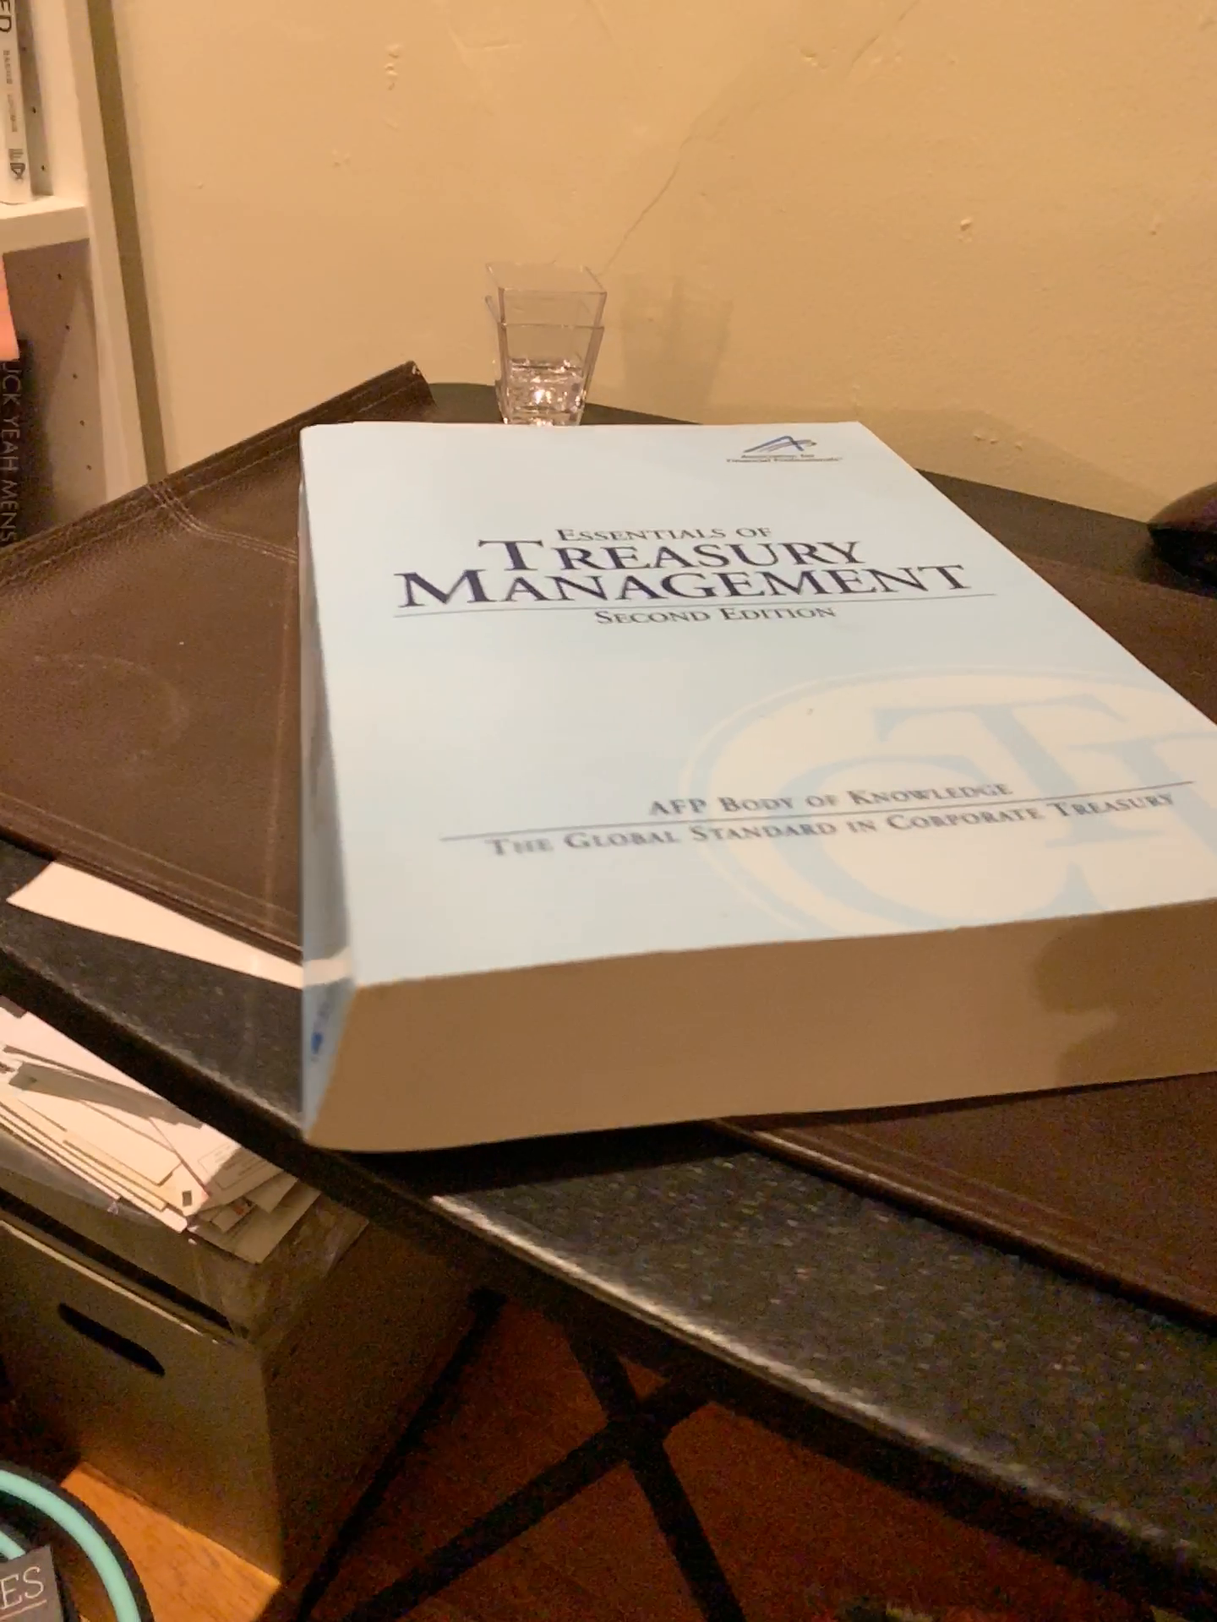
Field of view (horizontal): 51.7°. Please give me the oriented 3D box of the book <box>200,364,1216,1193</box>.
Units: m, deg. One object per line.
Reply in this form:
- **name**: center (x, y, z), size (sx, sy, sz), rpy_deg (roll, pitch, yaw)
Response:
- **book**: center (0.011, -0.049, 0.352), size (0.220, 0.060, 0.302), rpy_deg (-3, 36, -12)
